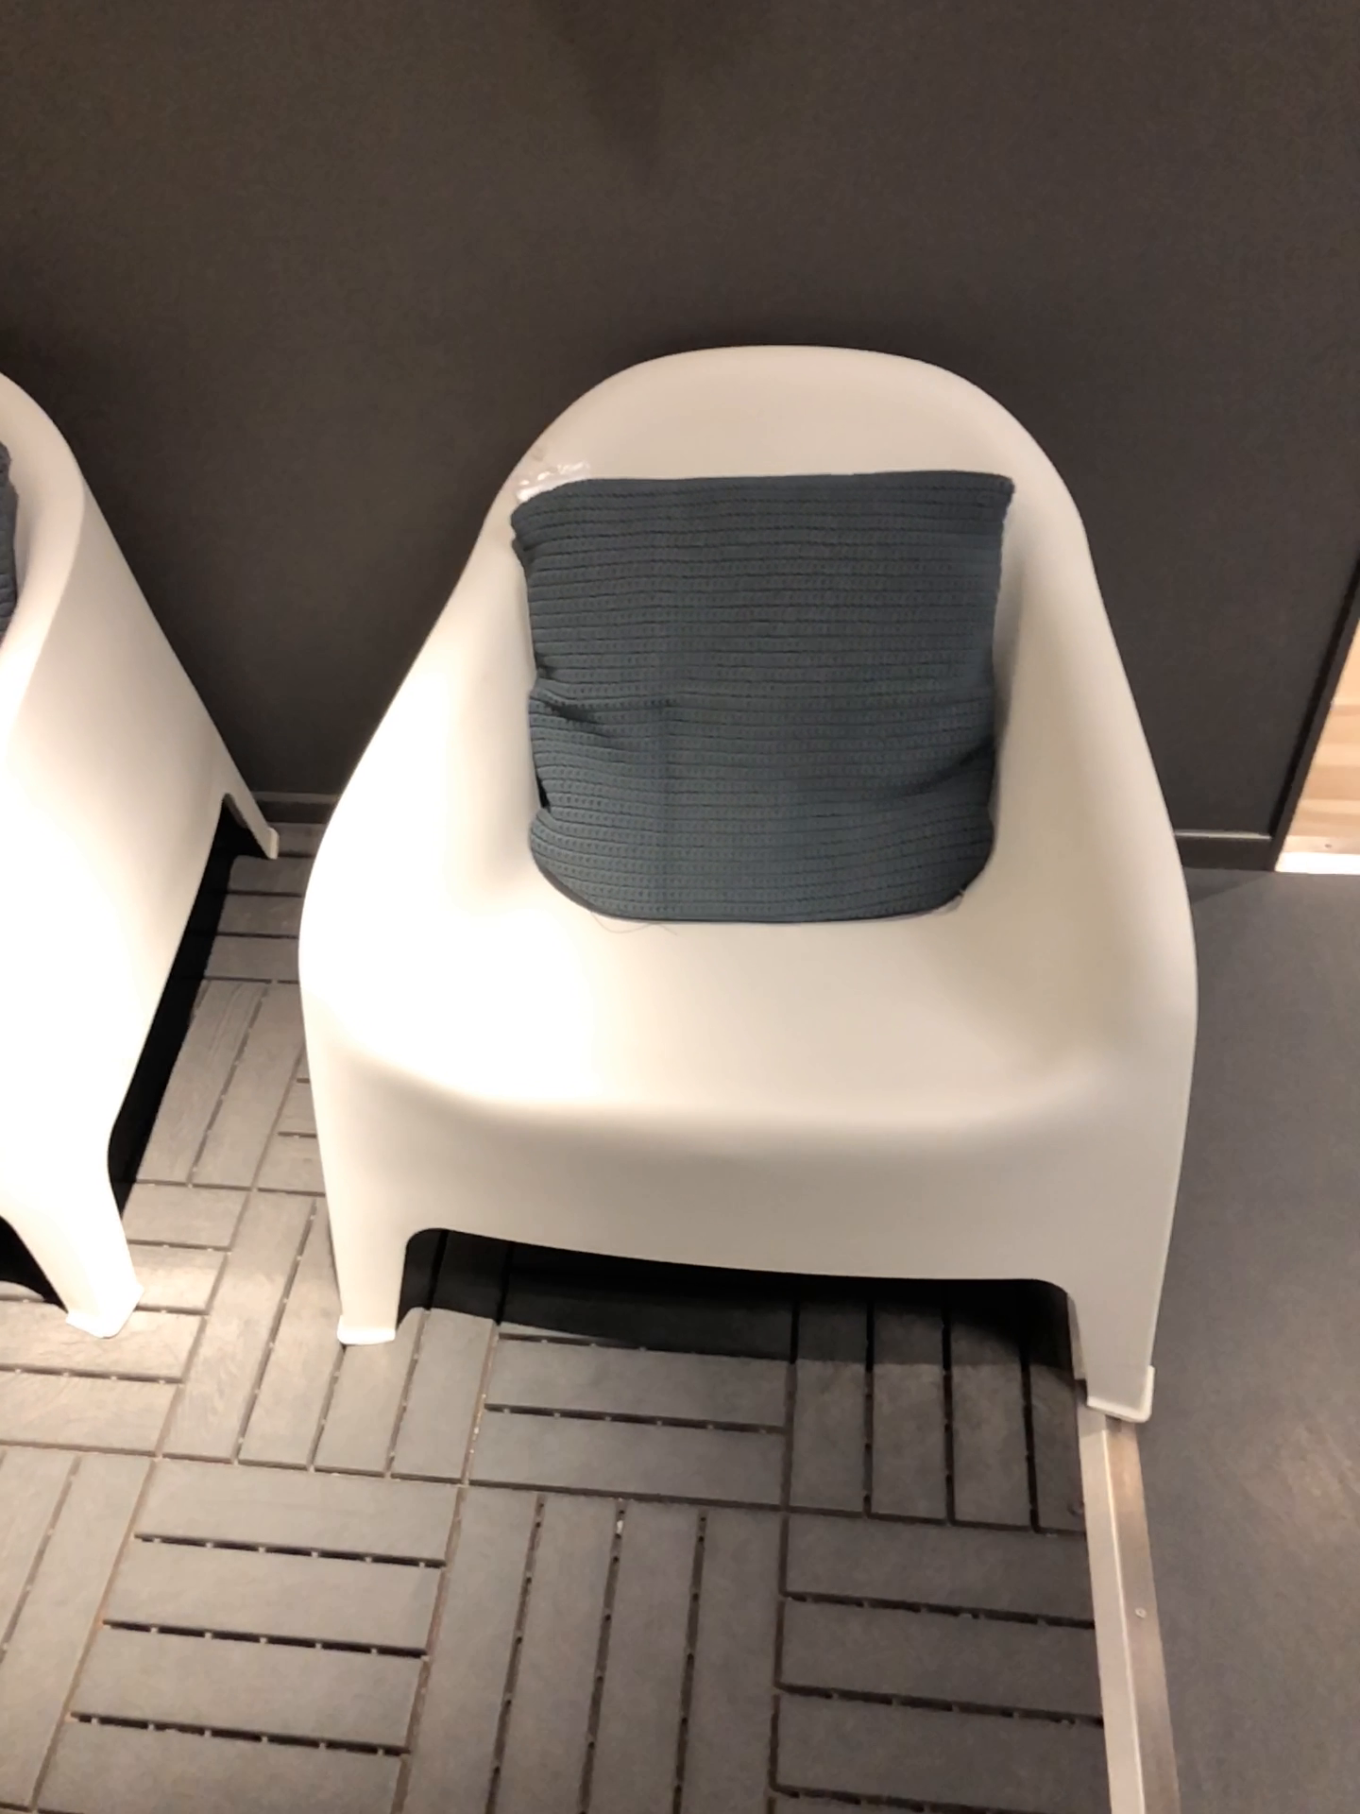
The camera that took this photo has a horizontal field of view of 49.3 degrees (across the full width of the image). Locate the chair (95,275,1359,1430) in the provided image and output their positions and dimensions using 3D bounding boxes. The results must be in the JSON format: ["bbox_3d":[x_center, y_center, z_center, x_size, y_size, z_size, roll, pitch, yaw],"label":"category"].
[{"bbox_3d":[0.091,-0.069,1.445,0.830,0.765,0.785,2,45,5],"label":"chair"}]
